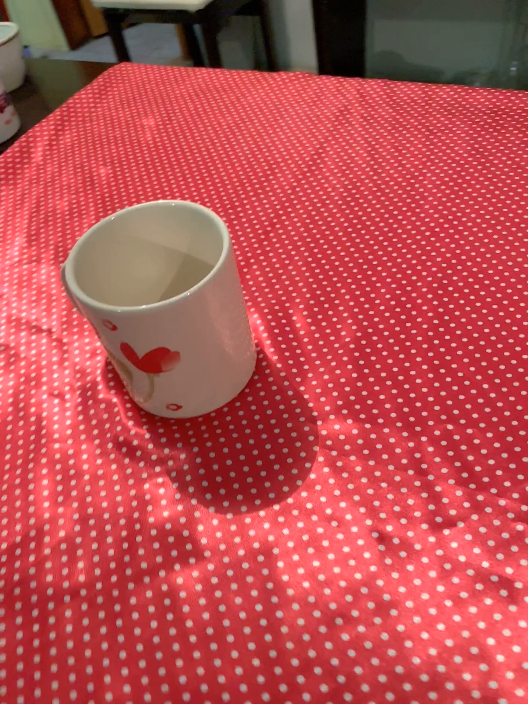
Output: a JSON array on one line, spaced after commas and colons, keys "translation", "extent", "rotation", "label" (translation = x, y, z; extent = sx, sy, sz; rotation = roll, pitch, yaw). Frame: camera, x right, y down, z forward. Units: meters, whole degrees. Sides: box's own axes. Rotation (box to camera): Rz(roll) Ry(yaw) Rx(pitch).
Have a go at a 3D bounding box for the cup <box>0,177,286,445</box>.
[{"translation": [-0.064, -0.025, 0.294], "extent": [0.120, 0.090, 0.090], "rotation": [11, 53, 19], "label": "cup"}]
